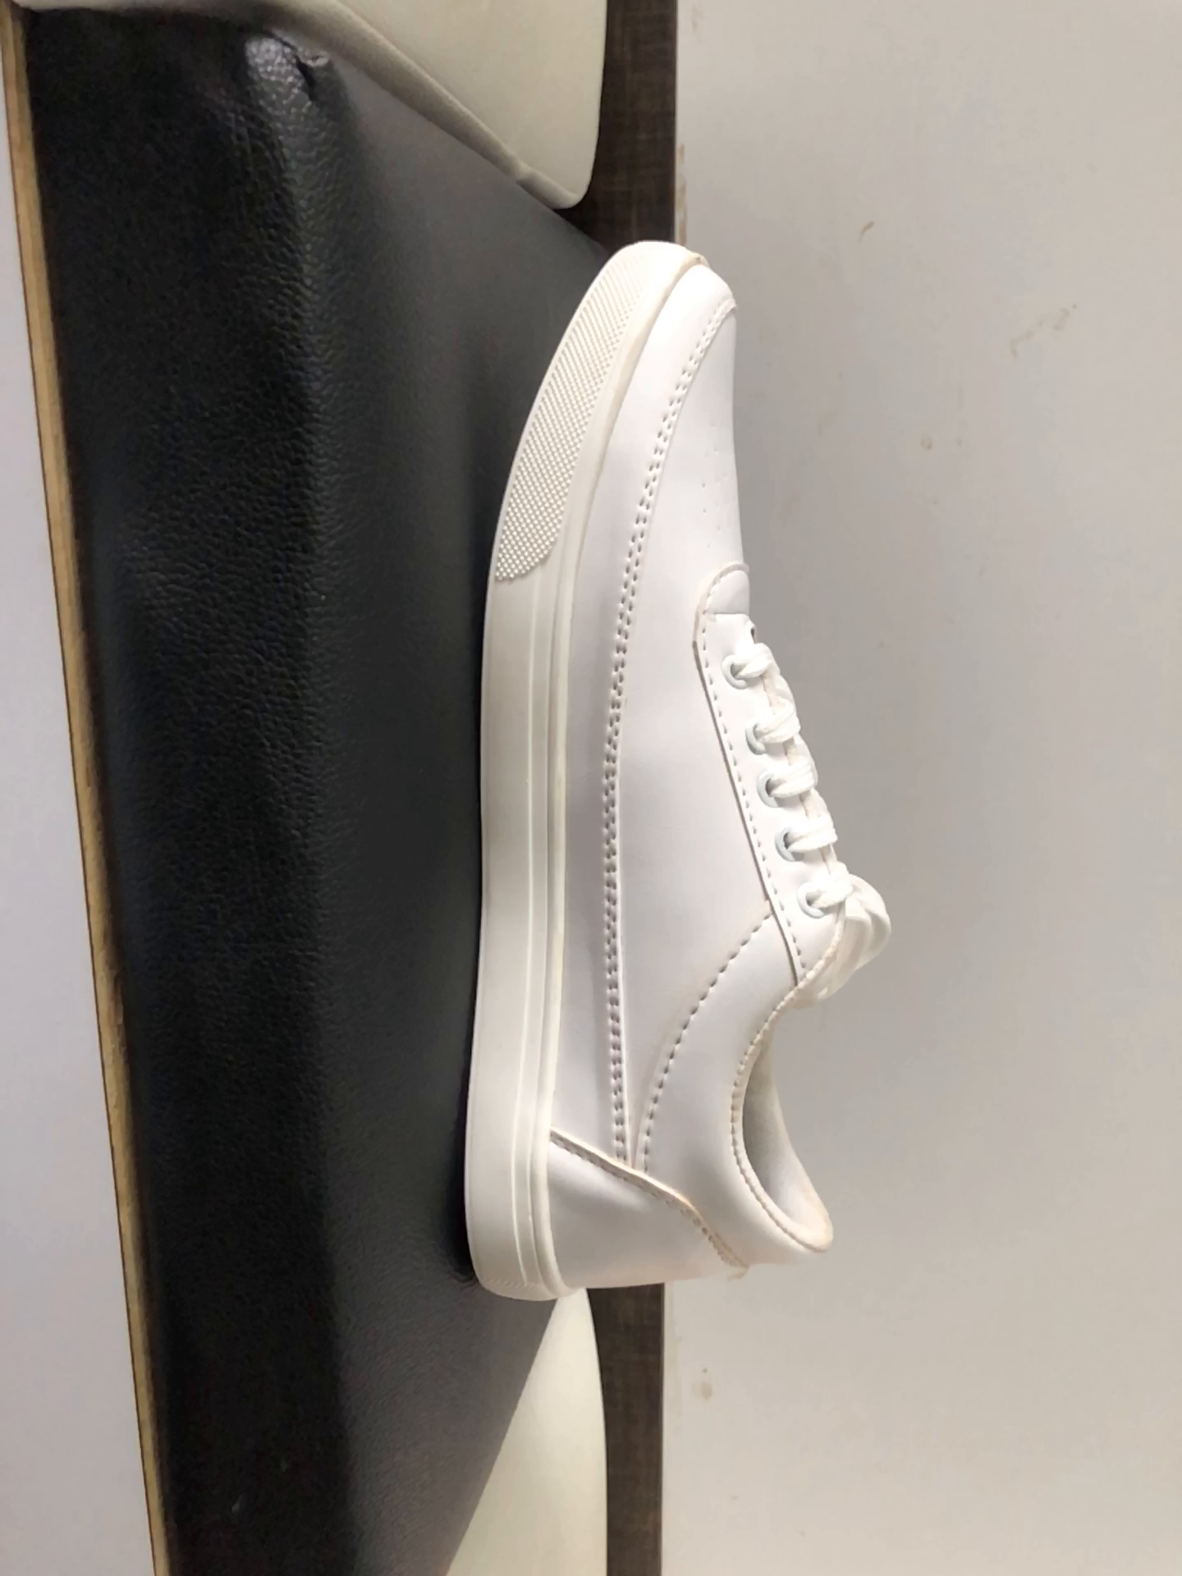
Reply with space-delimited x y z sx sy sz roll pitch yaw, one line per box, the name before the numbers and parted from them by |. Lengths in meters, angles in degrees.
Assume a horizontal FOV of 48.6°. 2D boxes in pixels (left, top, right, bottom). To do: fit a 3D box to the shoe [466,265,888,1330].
shoe | 0.032 0.000 0.427 0.130 0.110 0.290 -30 122 -78
